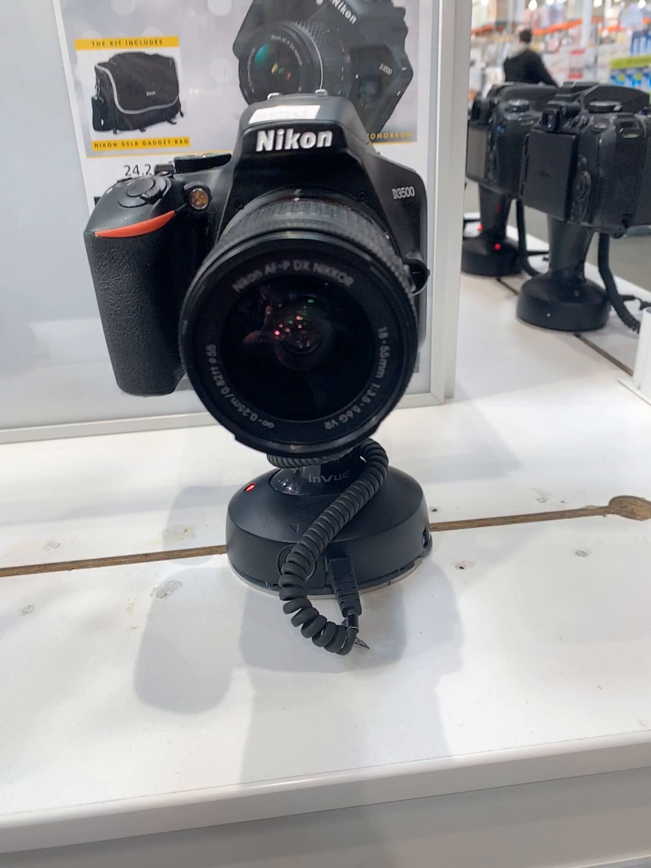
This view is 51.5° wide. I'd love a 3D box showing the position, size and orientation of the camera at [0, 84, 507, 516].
[{"bbox_3d":[-0.019,-0.053,0.220,0.116,0.099,0.121,-4,26,-1],"label":"camera"}]
